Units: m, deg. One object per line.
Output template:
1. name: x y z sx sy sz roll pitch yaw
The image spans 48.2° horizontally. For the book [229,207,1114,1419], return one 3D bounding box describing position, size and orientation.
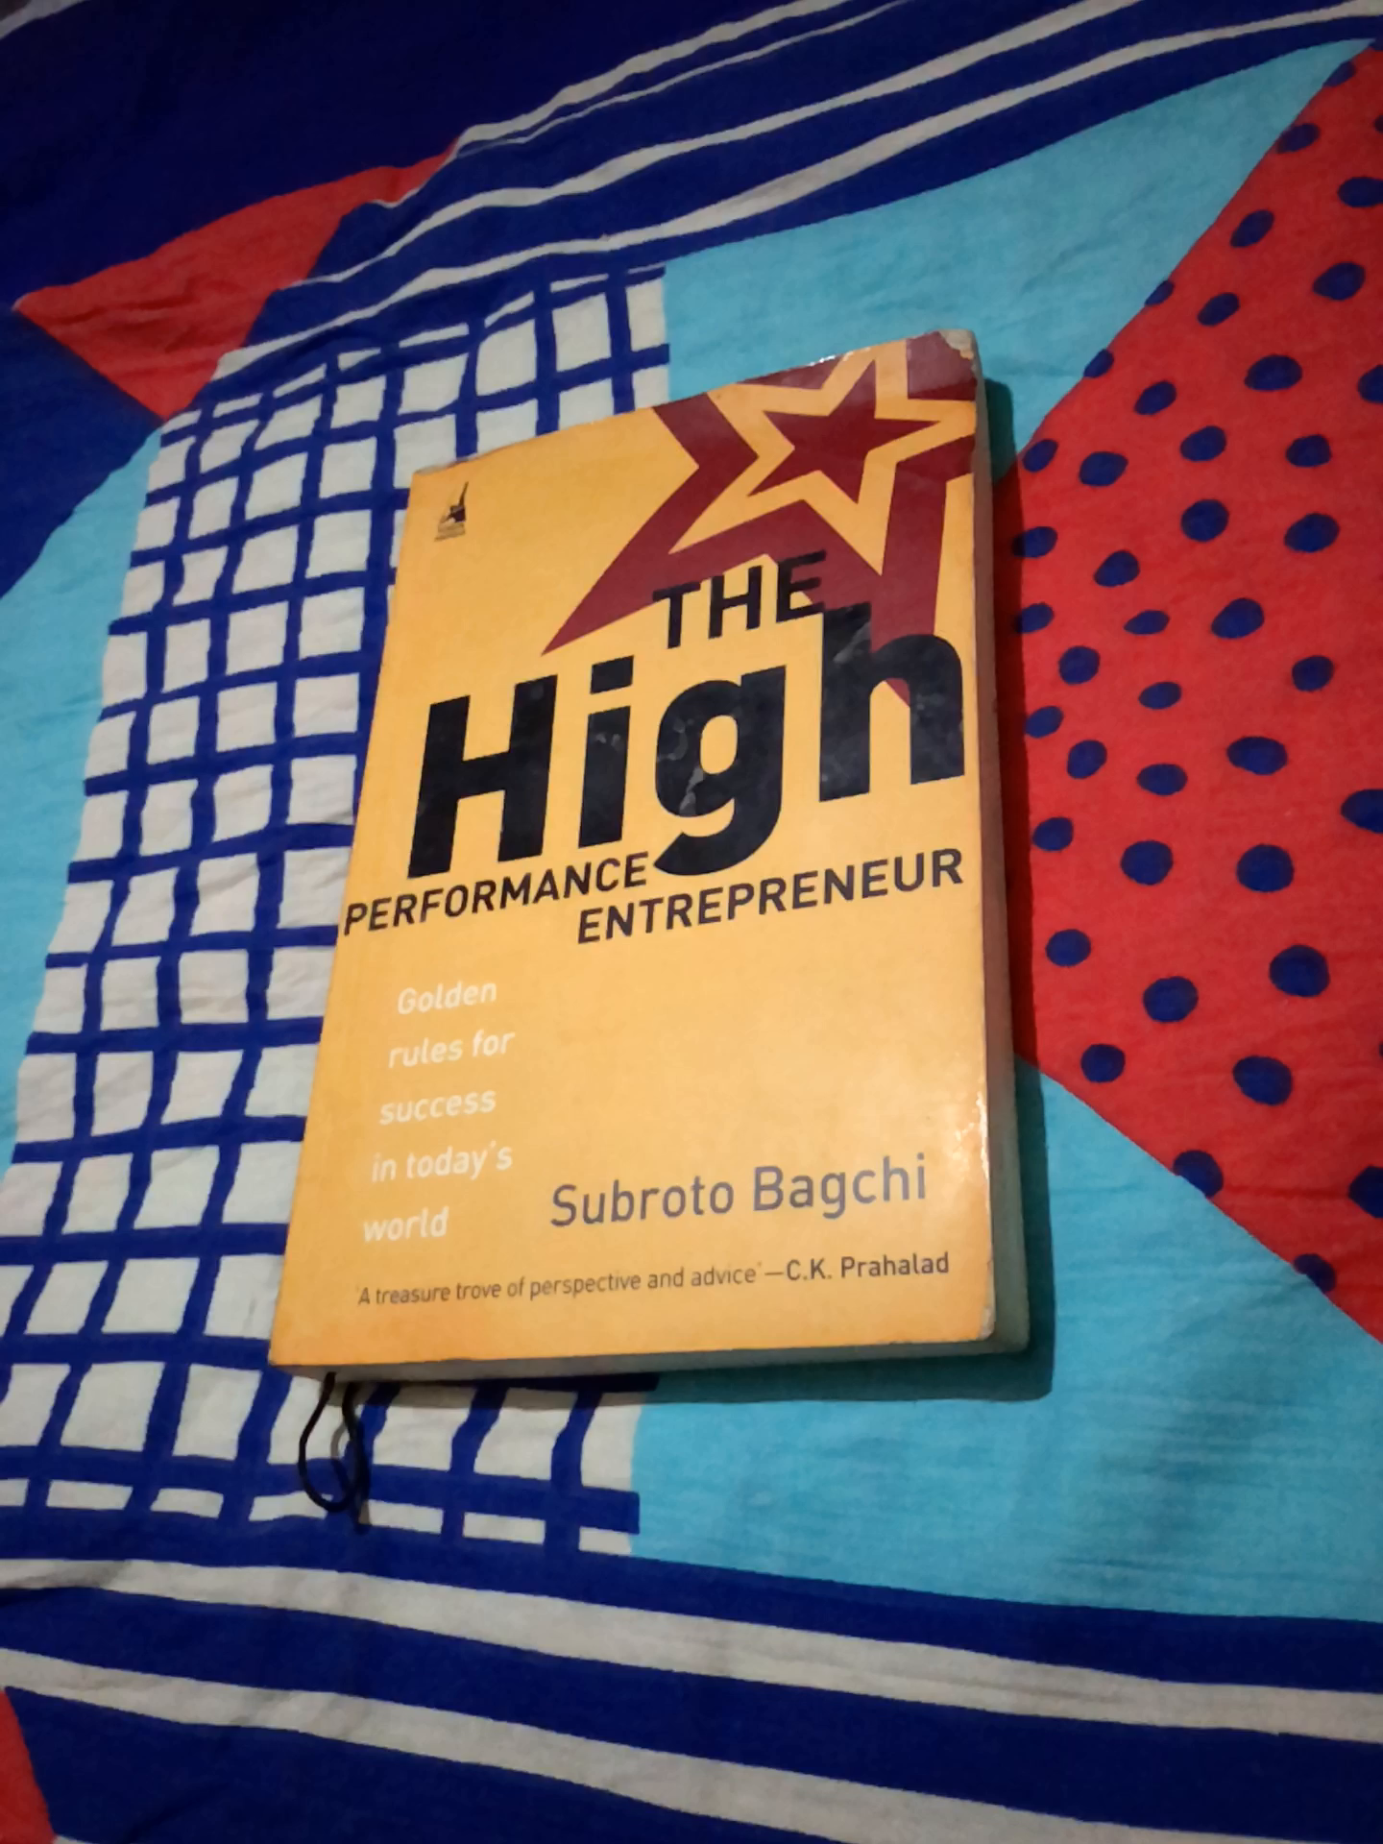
1. book: -0.002 -0.027 0.307 0.140 0.040 0.230 -10 59 22
